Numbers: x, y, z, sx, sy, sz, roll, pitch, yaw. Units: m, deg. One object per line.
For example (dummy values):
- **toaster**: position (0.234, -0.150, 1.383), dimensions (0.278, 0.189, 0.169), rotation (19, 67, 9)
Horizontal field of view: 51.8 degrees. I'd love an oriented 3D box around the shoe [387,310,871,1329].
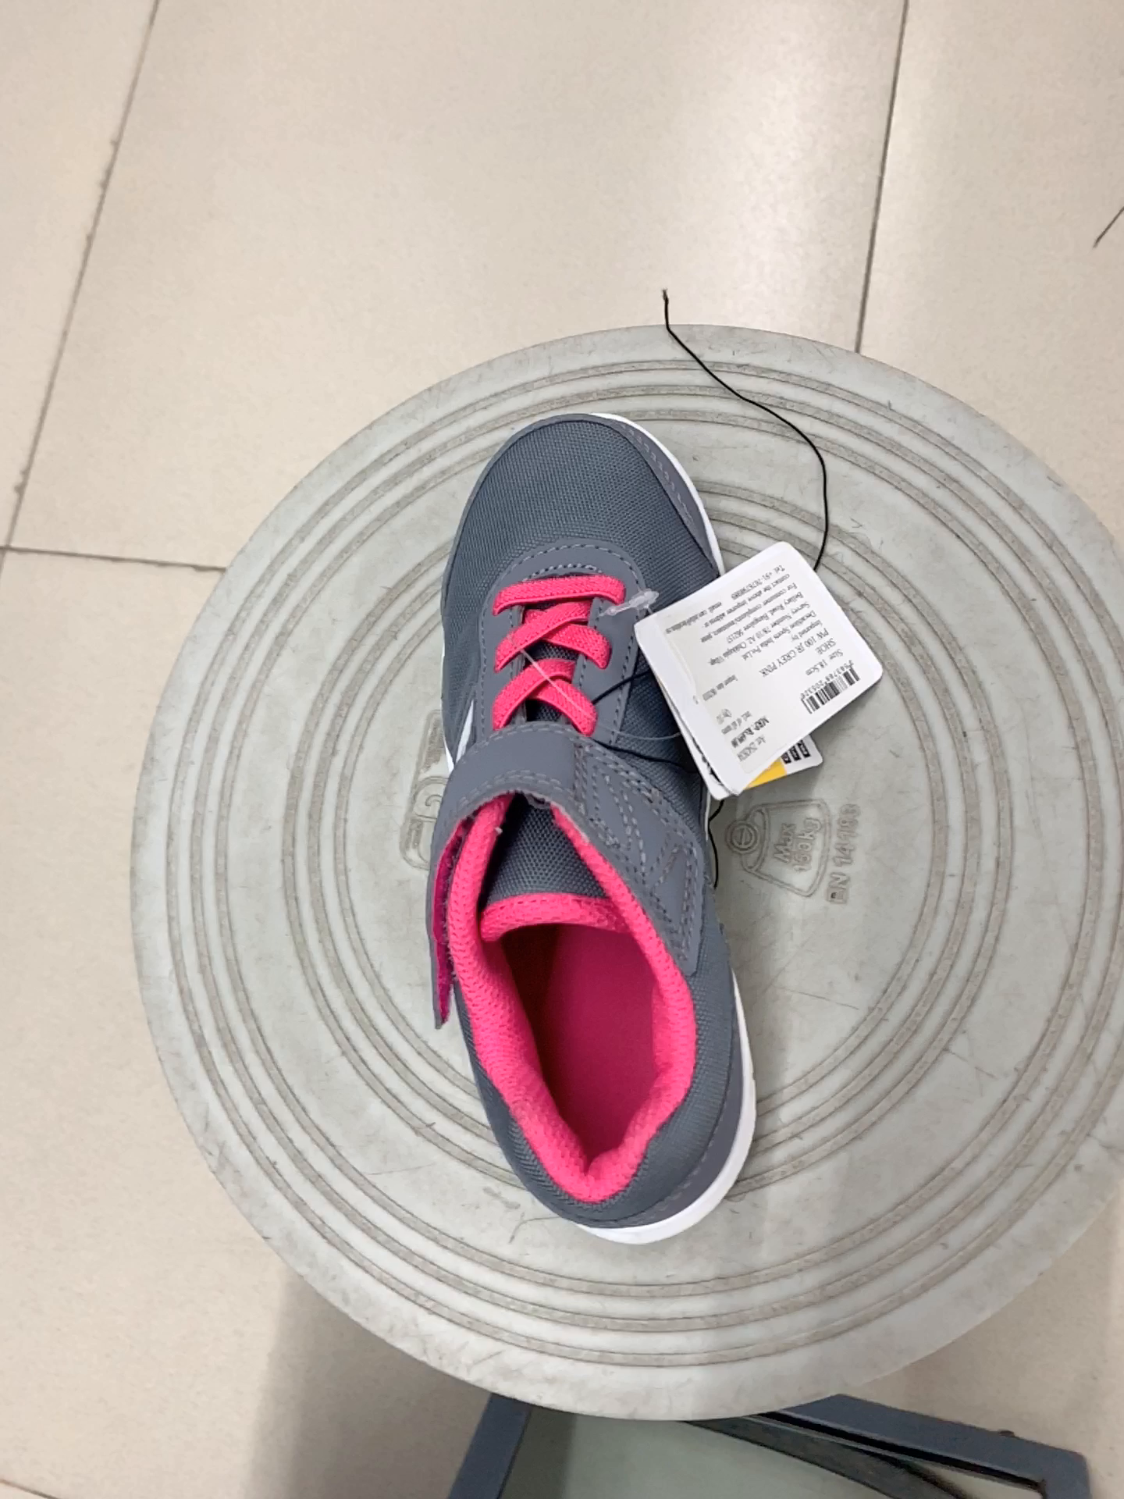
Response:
- **shoe**: position (0.016, 0.016, 0.241), dimensions (0.070, 0.090, 0.170), rotation (-7, 76, 12)
